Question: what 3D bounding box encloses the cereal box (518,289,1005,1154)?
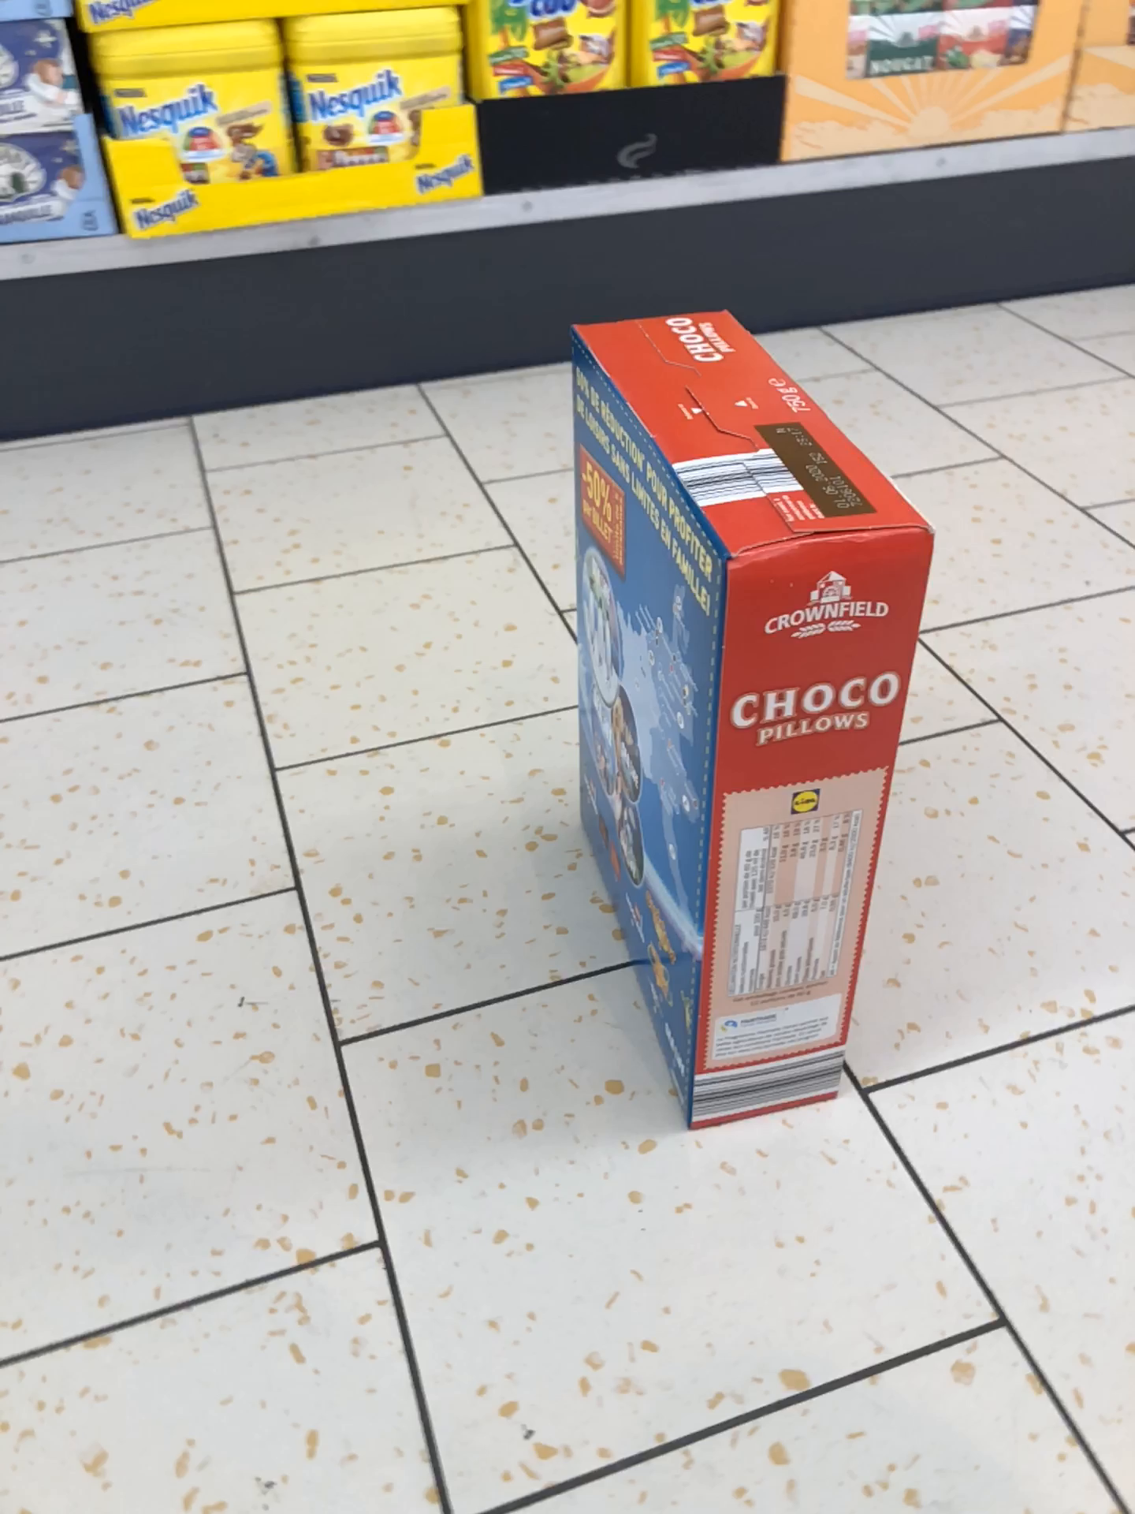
[{"bbox_3d":[0.050,-0.020,0.473,0.090,0.239,0.211,-8,38,-9],"label":"cereal box"}]
